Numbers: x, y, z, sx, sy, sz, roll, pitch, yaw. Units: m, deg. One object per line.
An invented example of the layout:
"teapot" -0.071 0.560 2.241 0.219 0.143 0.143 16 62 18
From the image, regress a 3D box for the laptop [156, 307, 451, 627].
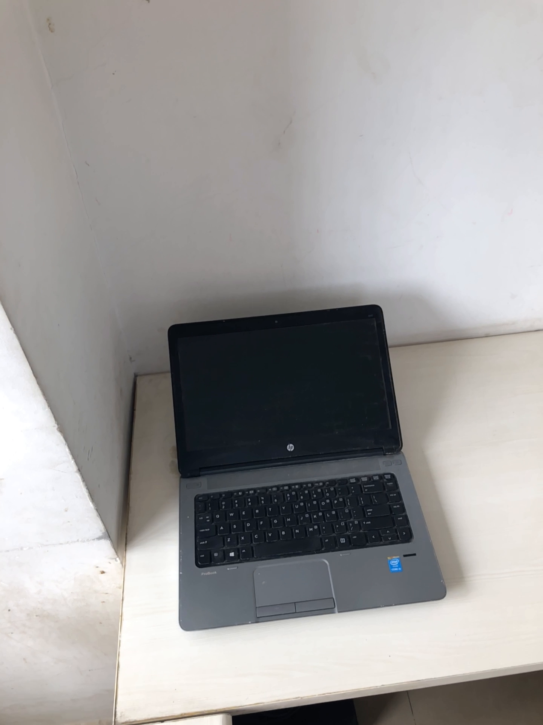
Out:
"laptop" 0.021 0.118 0.846 0.328 0.137 0.407 -5 45 -4
